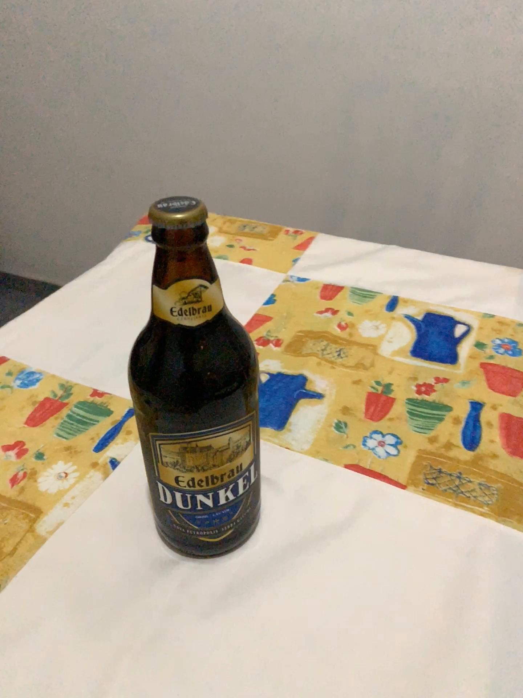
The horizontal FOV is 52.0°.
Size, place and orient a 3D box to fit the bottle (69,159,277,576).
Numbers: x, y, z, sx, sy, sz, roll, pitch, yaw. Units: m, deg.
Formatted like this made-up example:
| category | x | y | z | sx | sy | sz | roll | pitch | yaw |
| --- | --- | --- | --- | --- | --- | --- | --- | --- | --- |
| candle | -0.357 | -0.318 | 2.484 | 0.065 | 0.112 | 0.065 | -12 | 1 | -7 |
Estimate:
| category | x | y | z | sx | sy | sz | roll | pitch | yaw |
| --- | --- | --- | --- | --- | --- | --- | --- | --- | --- |
| bottle | -0.042 | 0.020 | 0.304 | 0.080 | 0.219 | 0.080 | -1 | 36 | 0 |
